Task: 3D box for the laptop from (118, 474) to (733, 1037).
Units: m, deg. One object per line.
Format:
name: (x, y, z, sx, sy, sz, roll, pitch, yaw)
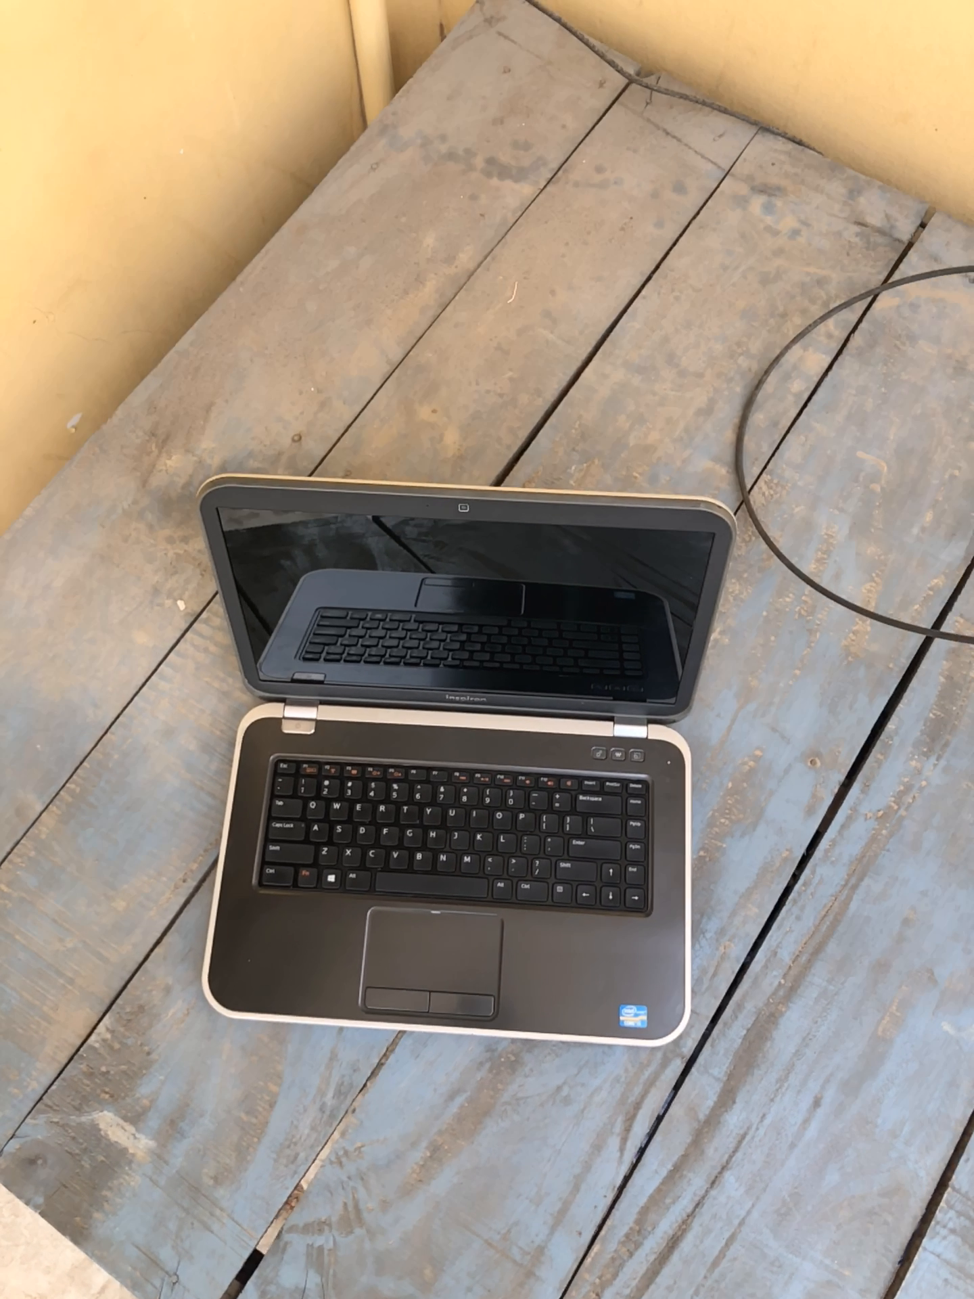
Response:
laptop: (-0.025, 0.084, 0.761, 0.352, 0.210, 0.333, 3, 71, 3)
